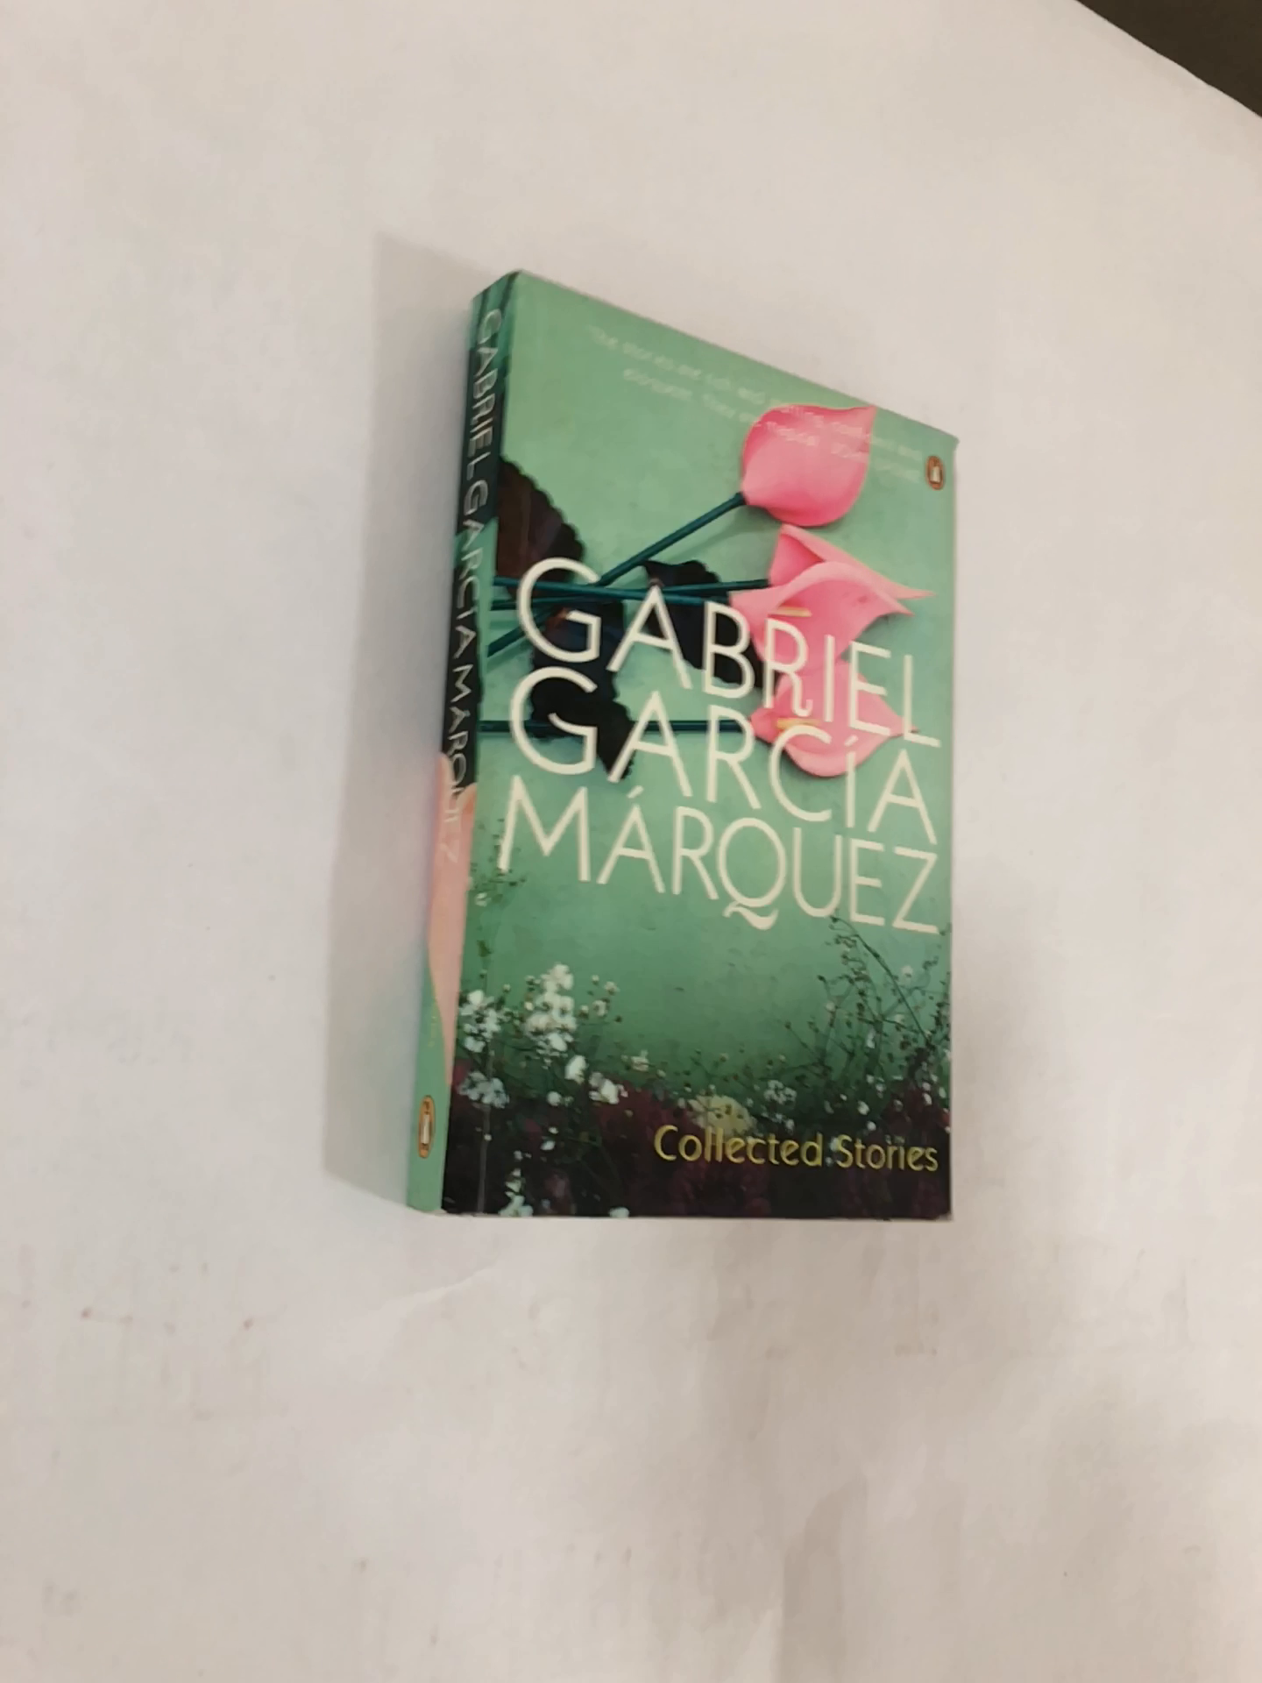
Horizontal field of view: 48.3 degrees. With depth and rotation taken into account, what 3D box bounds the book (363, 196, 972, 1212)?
[{"bbox_3d":[0.016,-0.022,0.311,0.130,0.030,0.200,9,77,-30],"label":"book"}]
